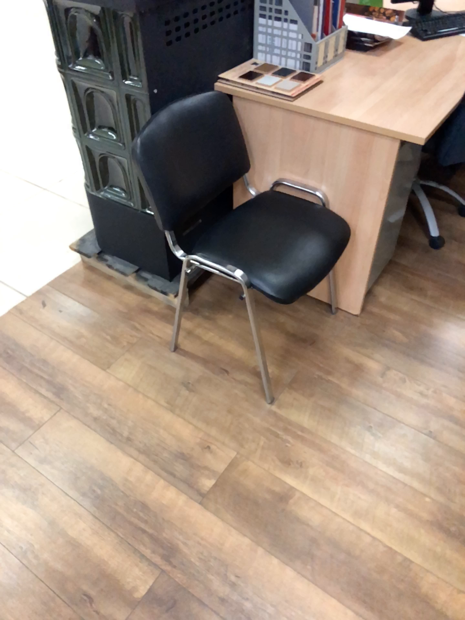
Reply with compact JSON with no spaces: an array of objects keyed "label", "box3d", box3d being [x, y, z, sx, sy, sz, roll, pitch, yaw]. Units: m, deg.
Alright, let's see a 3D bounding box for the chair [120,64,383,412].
[{"label":"chair","box3d":[0.074,-0.229,1.690,0.481,0.856,0.582,24,49,24]}]
